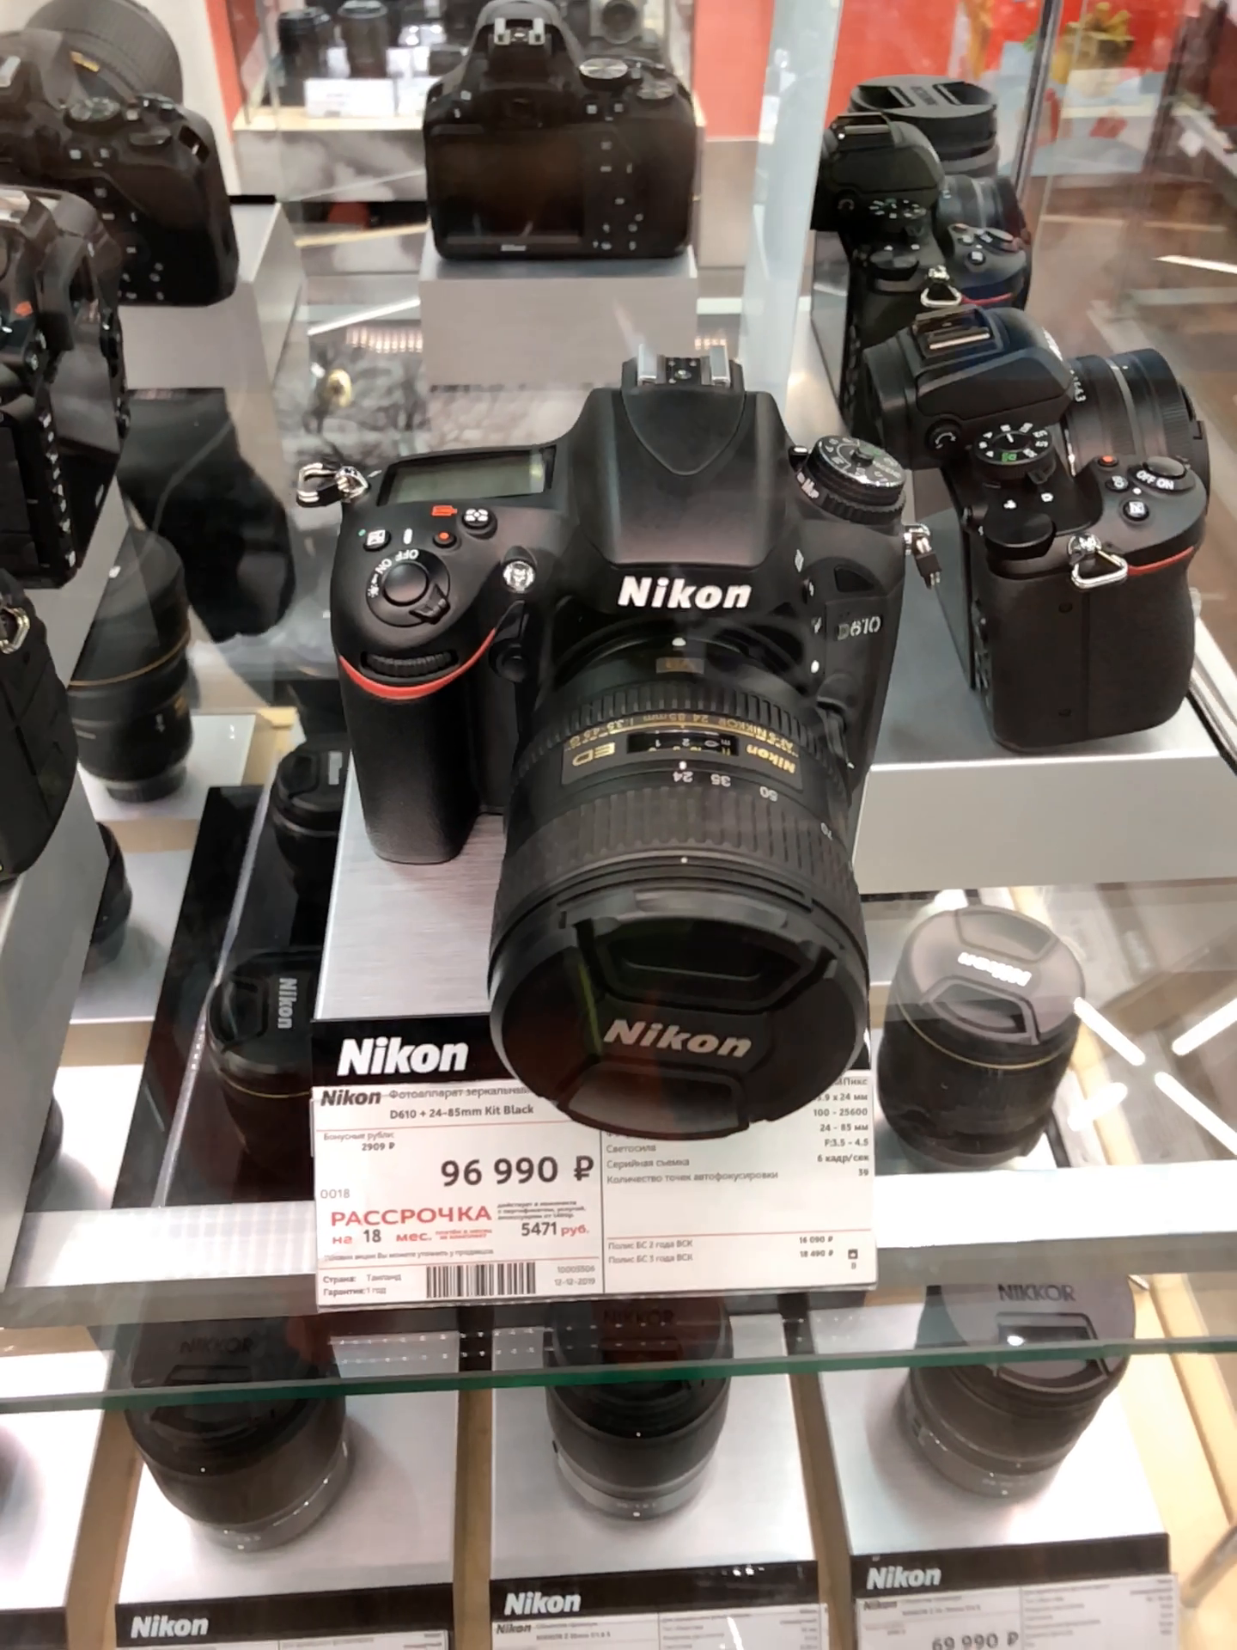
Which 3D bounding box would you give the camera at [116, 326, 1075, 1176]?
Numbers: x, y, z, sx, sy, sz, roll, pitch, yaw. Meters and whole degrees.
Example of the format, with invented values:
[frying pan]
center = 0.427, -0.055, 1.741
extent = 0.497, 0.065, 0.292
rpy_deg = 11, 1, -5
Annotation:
[camera]
center = 0.000, -0.023, 0.302
extent = 0.148, 0.109, 0.151
rpy_deg = 3, 43, 2
